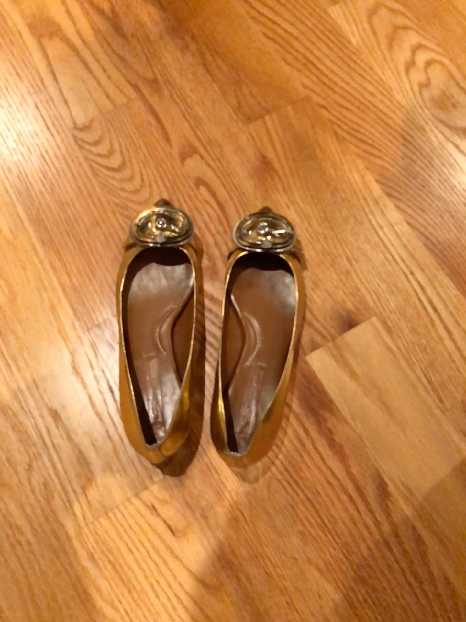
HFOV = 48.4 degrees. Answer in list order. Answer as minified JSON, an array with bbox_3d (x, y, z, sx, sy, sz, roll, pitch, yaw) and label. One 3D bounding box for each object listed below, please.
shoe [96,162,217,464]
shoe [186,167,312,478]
[{"bbox_3d":[-0.066,0.000,0.444,0.083,0.066,0.244,-5,73,-2],"label":"shoe"},{"bbox_3d":[0.017,0.007,0.442,0.077,0.066,0.250,6,73,2],"label":"shoe"}]
